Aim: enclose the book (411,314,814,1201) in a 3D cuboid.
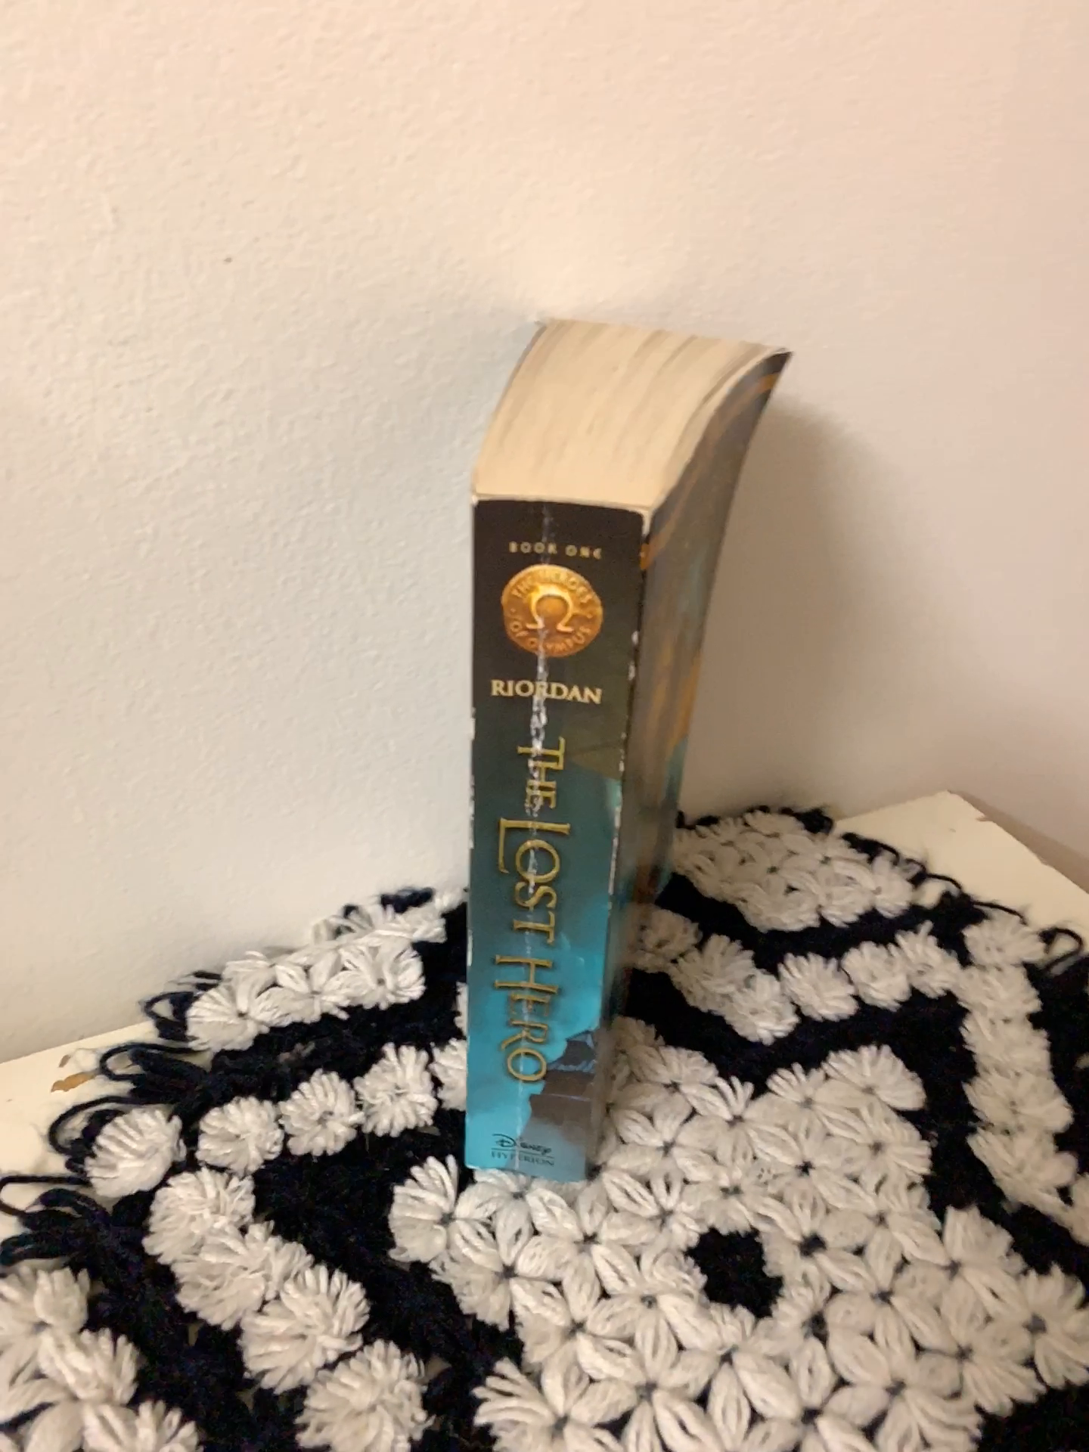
[{"bbox_3d":[0.023,0.000,0.294,0.068,0.177,0.143,4,31,8],"label":"book"}]
